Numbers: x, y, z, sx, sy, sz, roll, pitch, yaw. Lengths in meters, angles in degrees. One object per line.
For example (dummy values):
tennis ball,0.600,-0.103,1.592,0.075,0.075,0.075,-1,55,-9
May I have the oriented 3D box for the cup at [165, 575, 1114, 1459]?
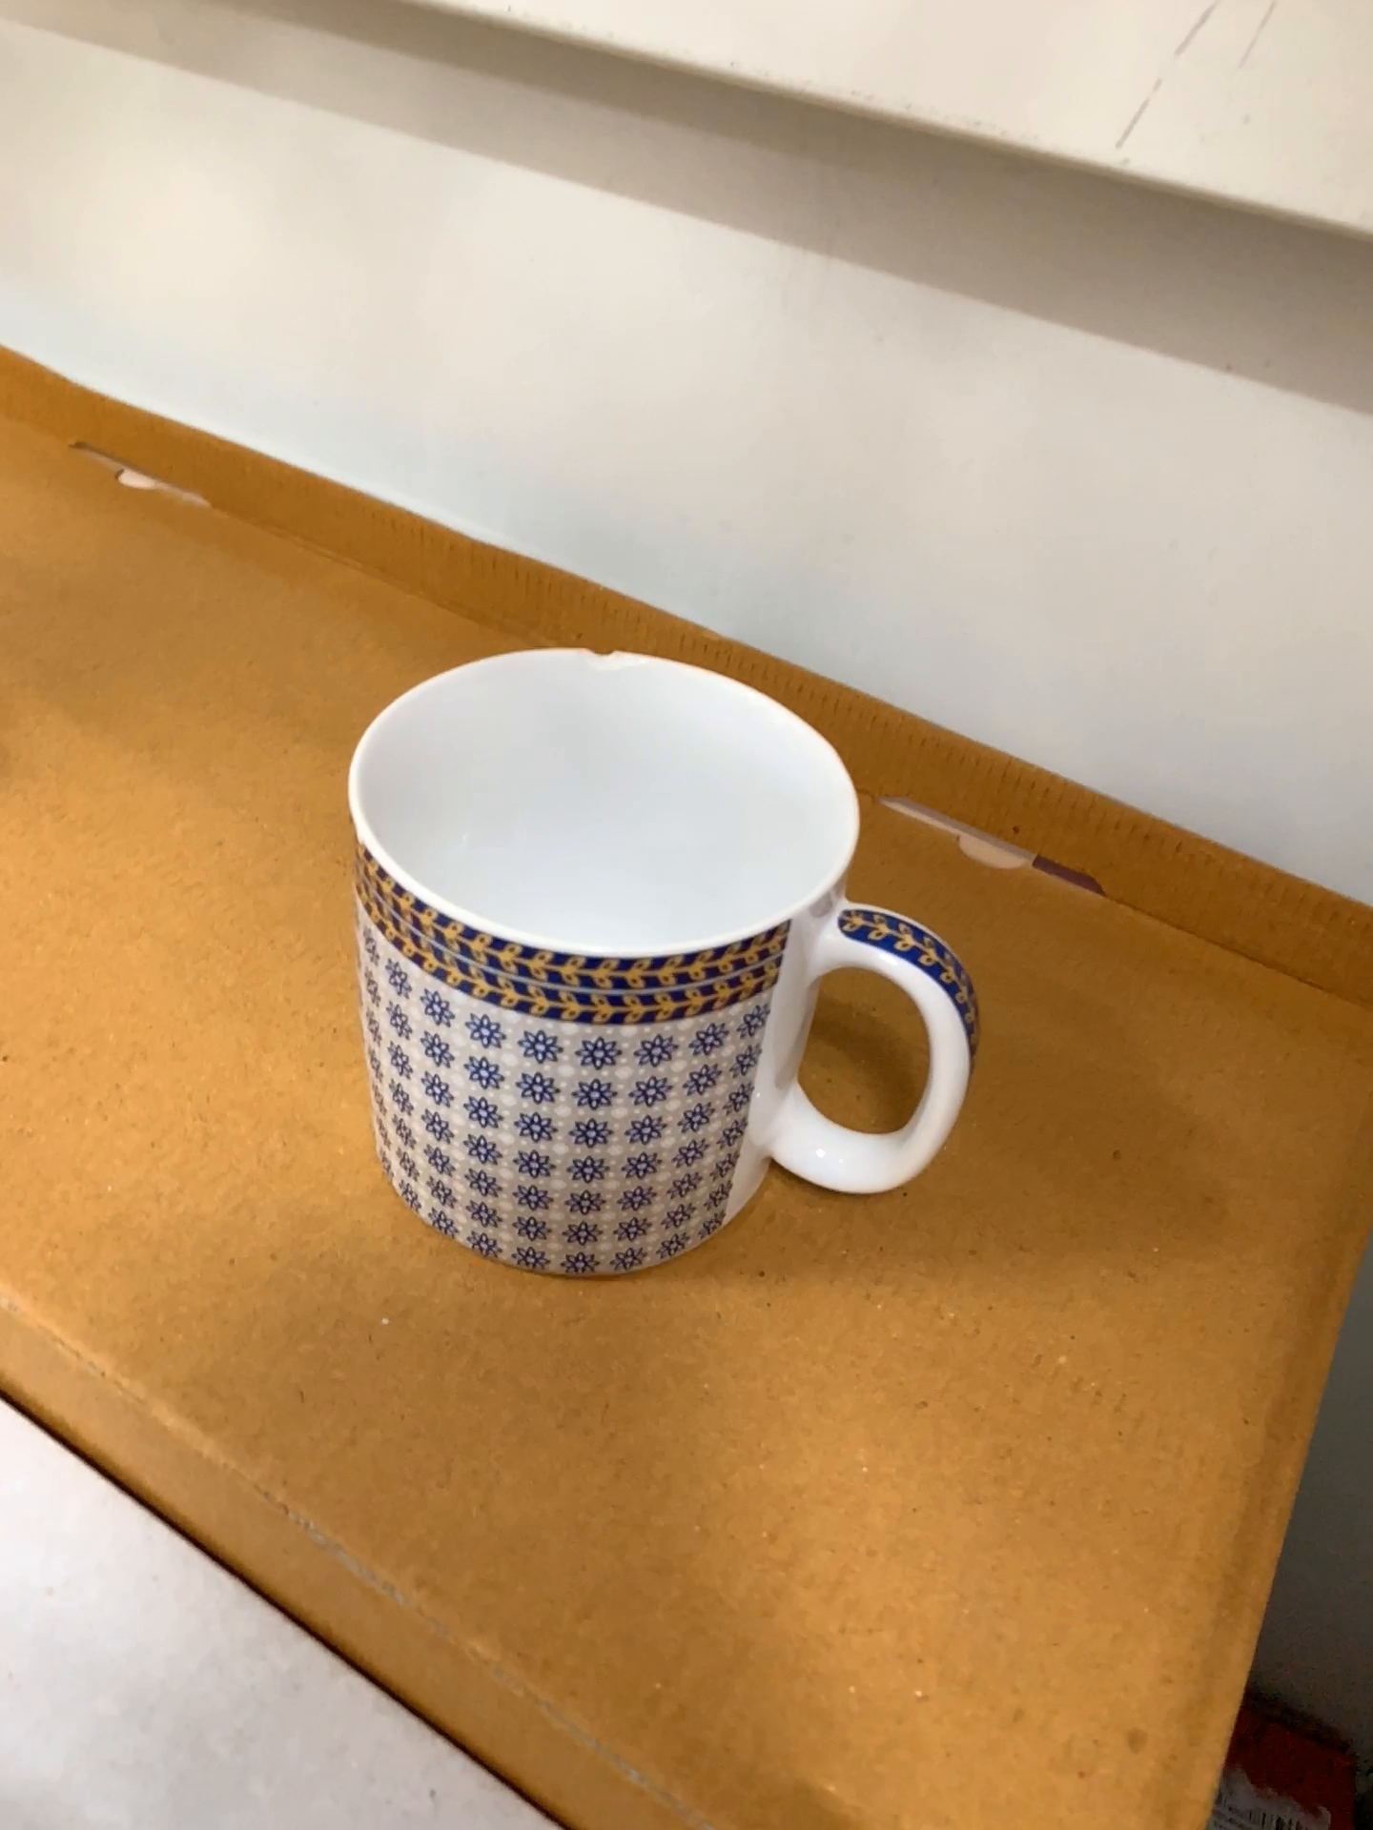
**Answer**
cup,-0.005,0.009,0.219,0.110,0.069,0.081,19,39,12
